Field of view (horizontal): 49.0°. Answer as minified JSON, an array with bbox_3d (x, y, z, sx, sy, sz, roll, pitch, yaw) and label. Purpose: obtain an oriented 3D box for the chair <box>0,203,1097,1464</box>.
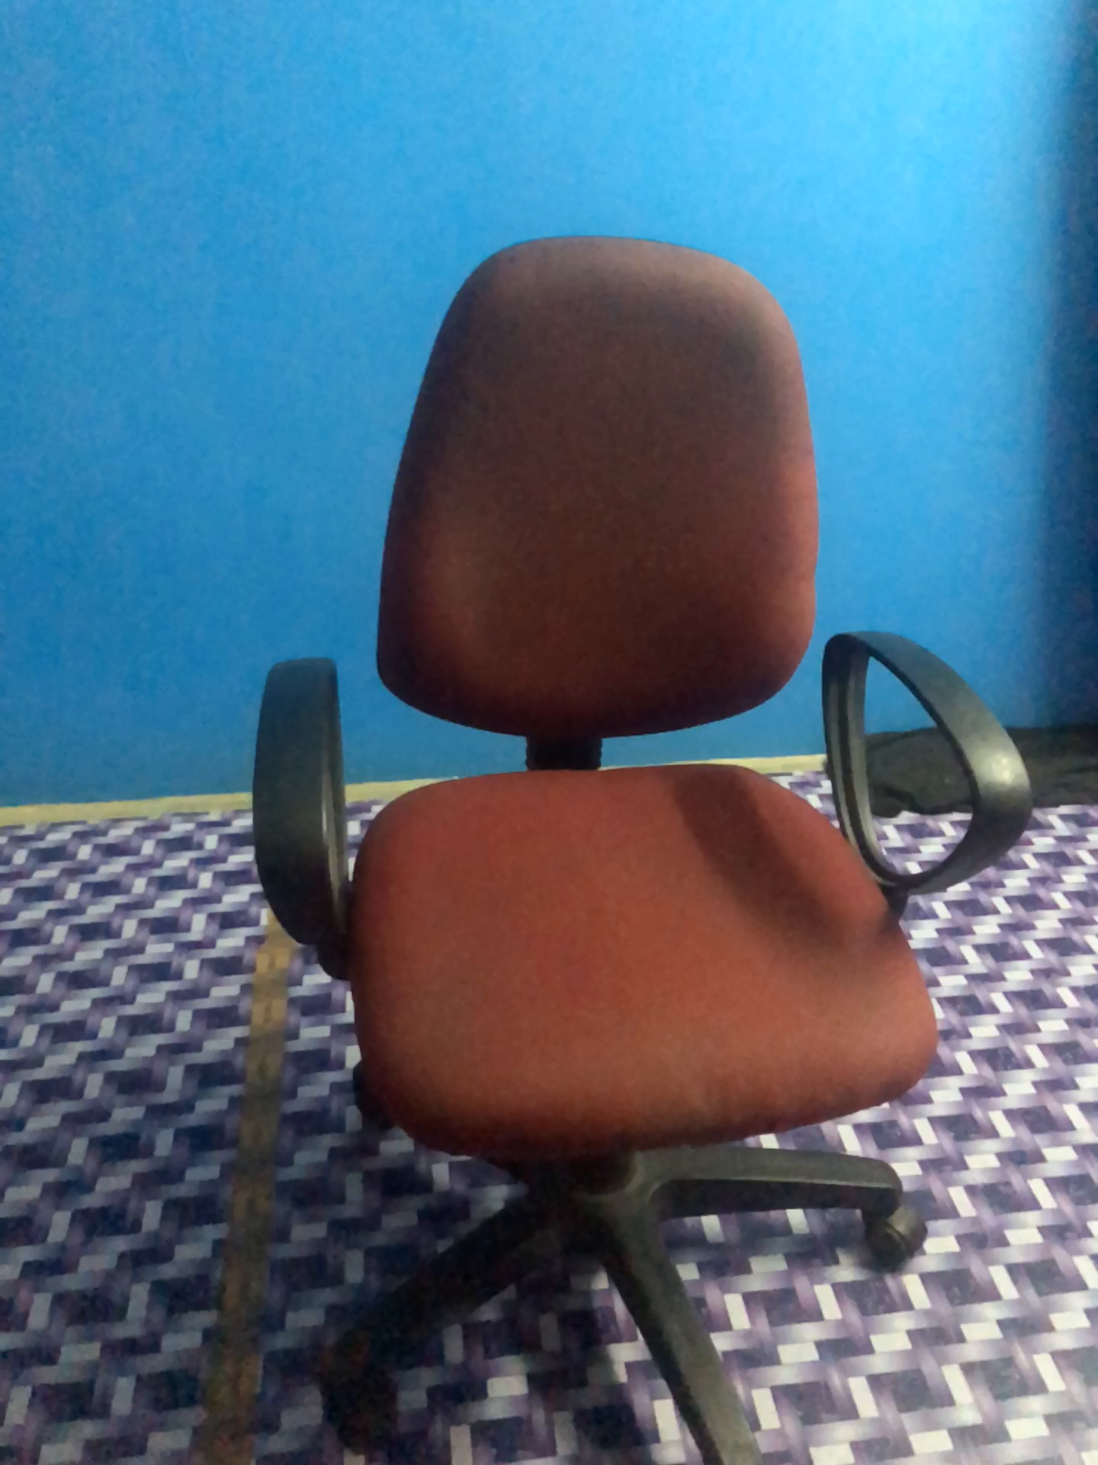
[{"bbox_3d":[0.069,0.098,1.015,0.700,0.895,0.744,0,30,-4],"label":"chair"}]
